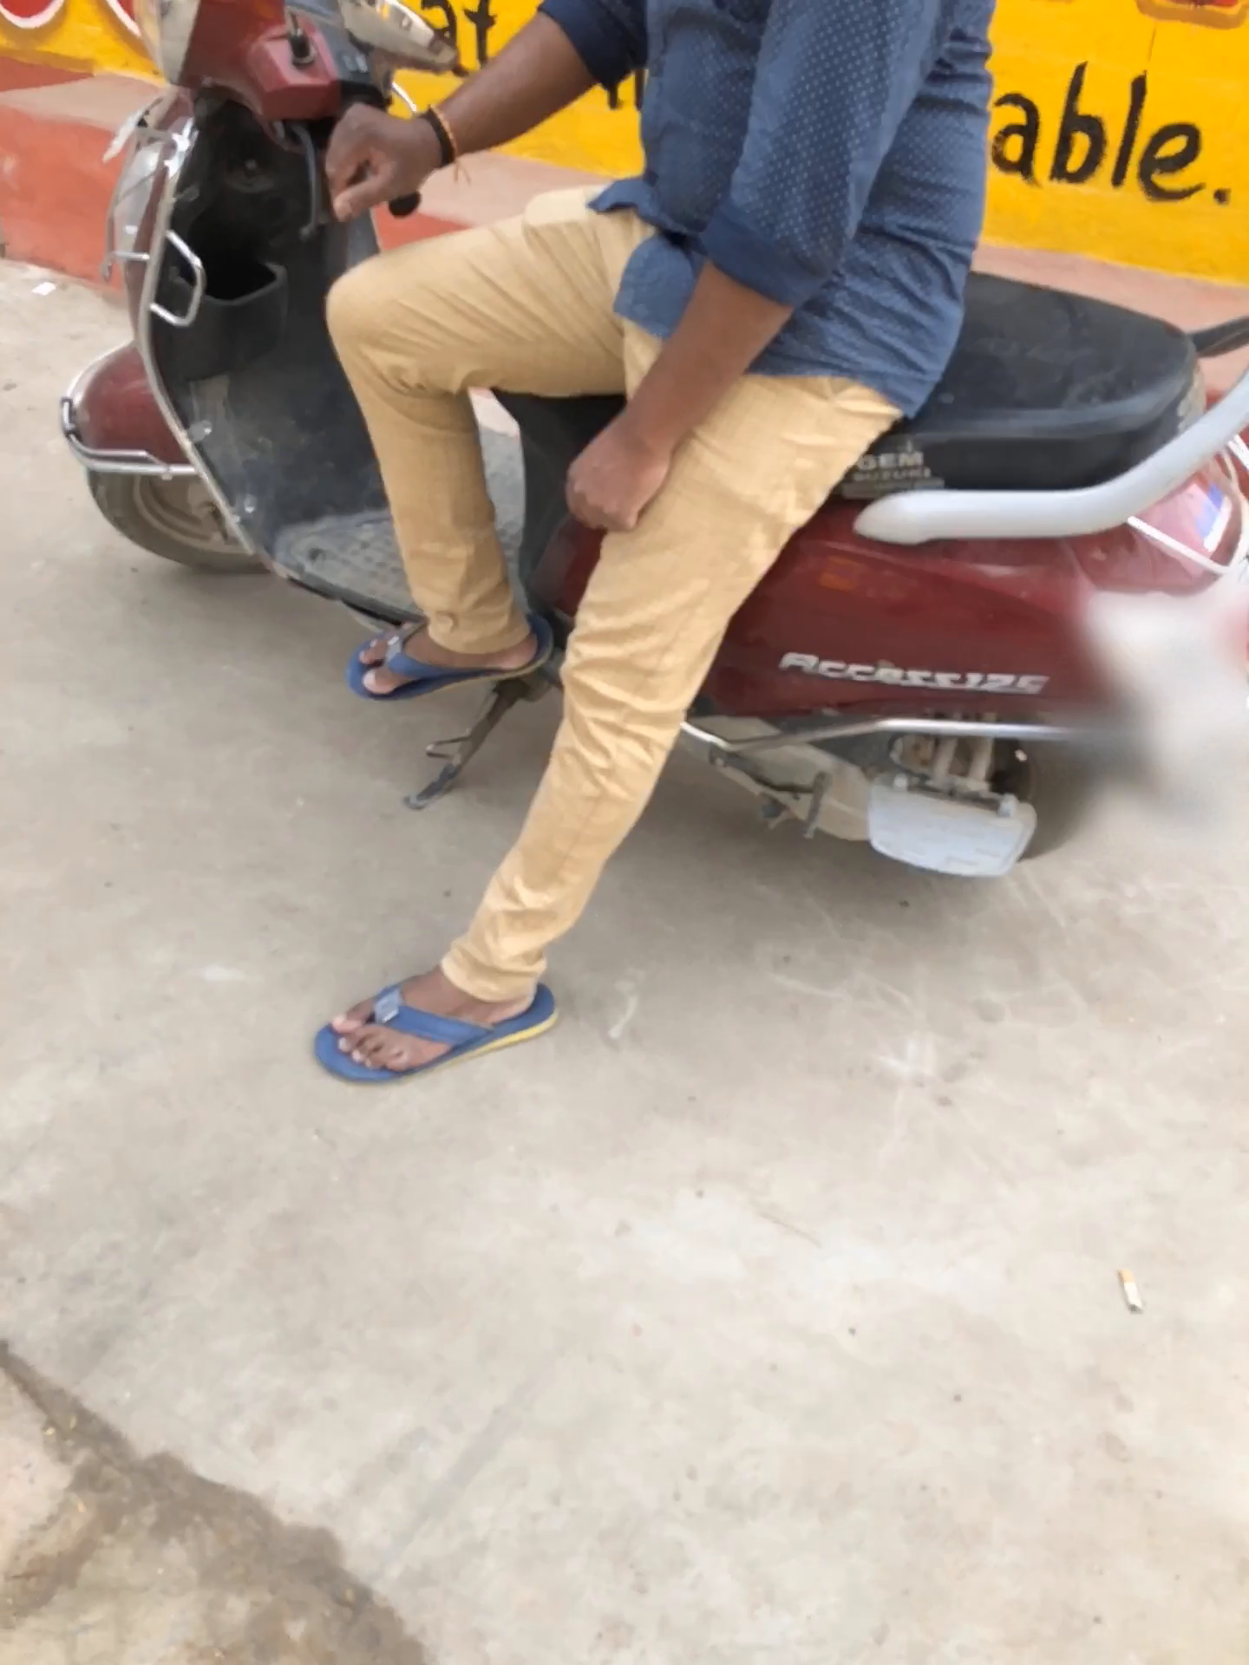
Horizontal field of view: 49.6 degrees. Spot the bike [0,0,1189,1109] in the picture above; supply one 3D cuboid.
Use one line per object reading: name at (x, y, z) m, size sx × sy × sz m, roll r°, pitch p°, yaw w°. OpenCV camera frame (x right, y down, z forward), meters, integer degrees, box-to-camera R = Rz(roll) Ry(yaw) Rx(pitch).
bike at (-0.283, -0.485, 1.550) m, size 1.376 × 1.086 × 0.633 m, roll 18°, pitch 40°, yaw 13°
